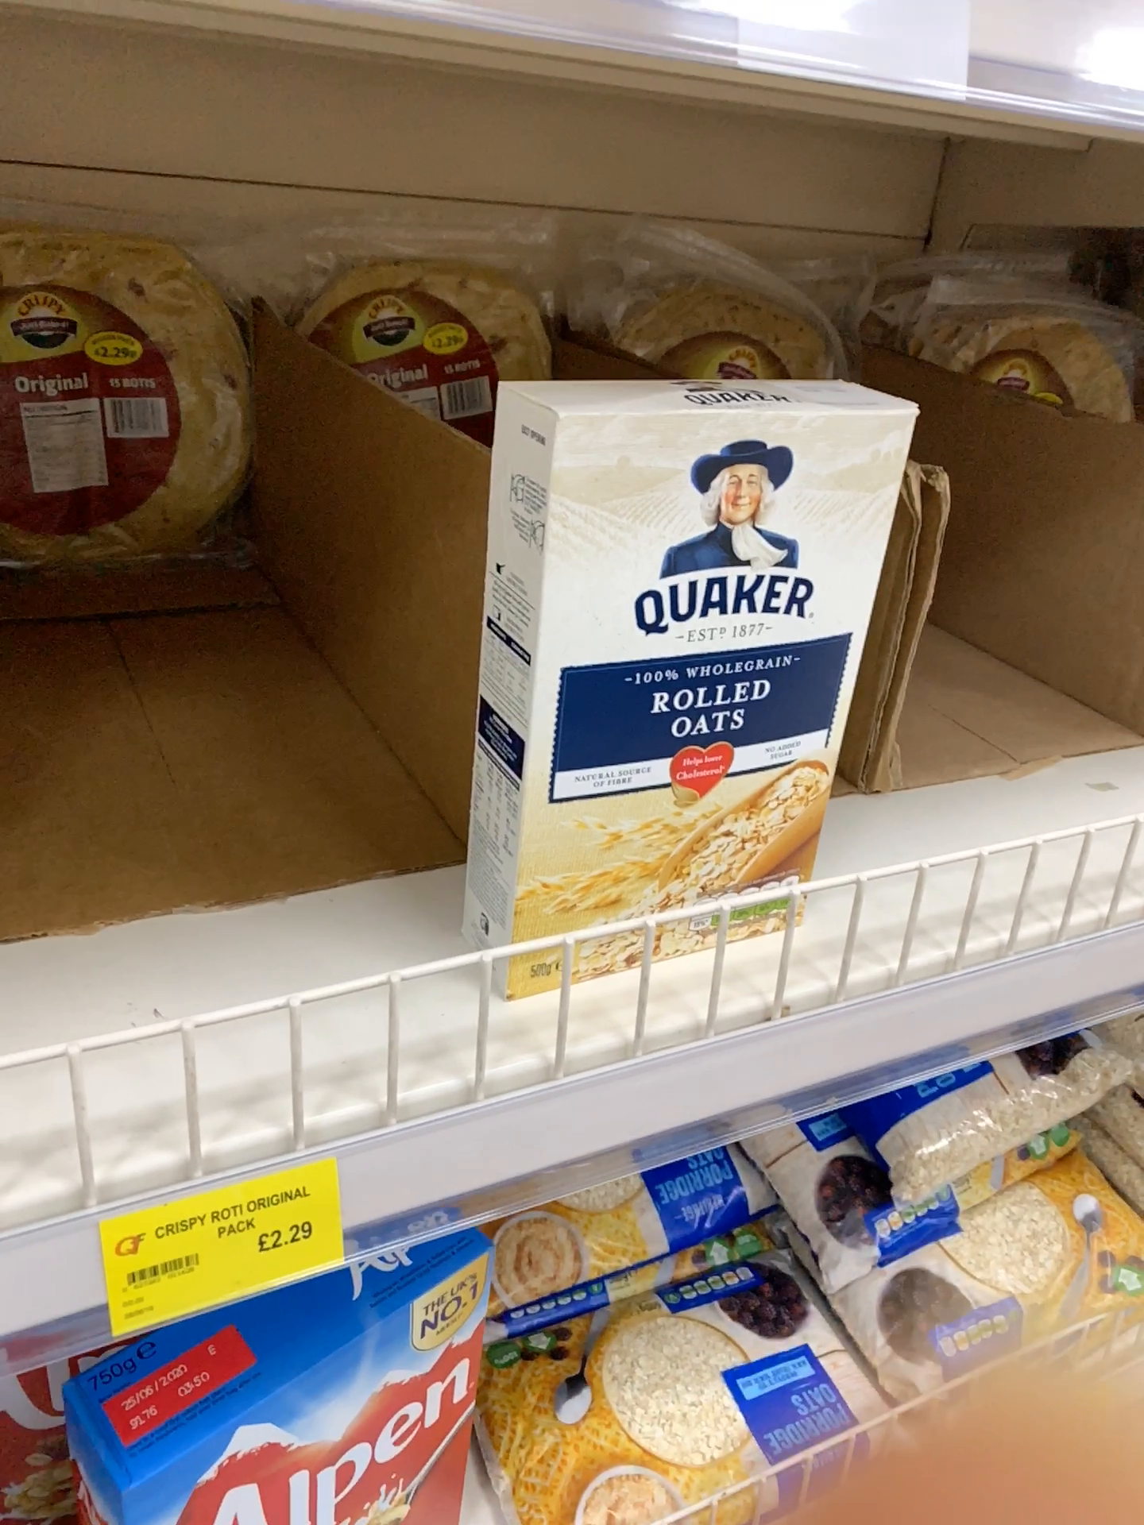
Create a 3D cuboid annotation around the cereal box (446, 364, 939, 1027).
[{"bbox_3d":[0.038,-0.025,0.440,0.150,0.228,0.050,-9,30,-27],"label":"cereal box"}]
